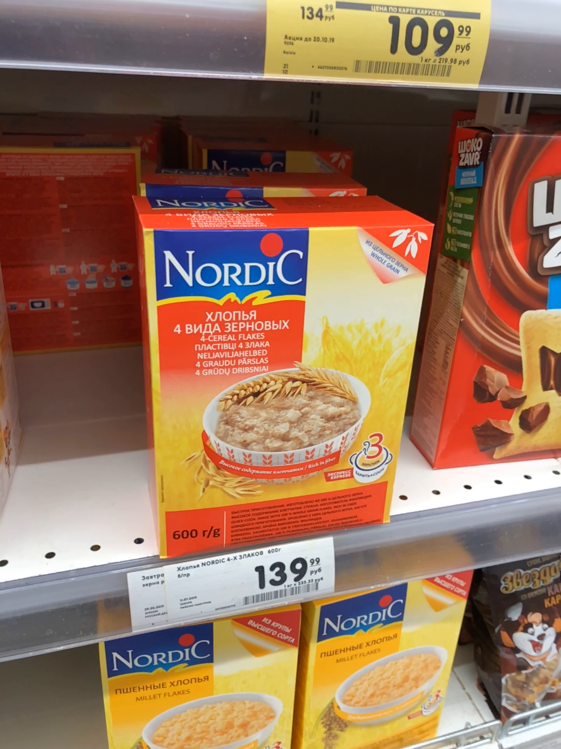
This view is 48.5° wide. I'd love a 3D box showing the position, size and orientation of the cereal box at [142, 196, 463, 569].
[{"bbox_3d":[0.004,0.001,0.365,0.150,0.189,0.080,-5,27,-15],"label":"cereal box"}]
